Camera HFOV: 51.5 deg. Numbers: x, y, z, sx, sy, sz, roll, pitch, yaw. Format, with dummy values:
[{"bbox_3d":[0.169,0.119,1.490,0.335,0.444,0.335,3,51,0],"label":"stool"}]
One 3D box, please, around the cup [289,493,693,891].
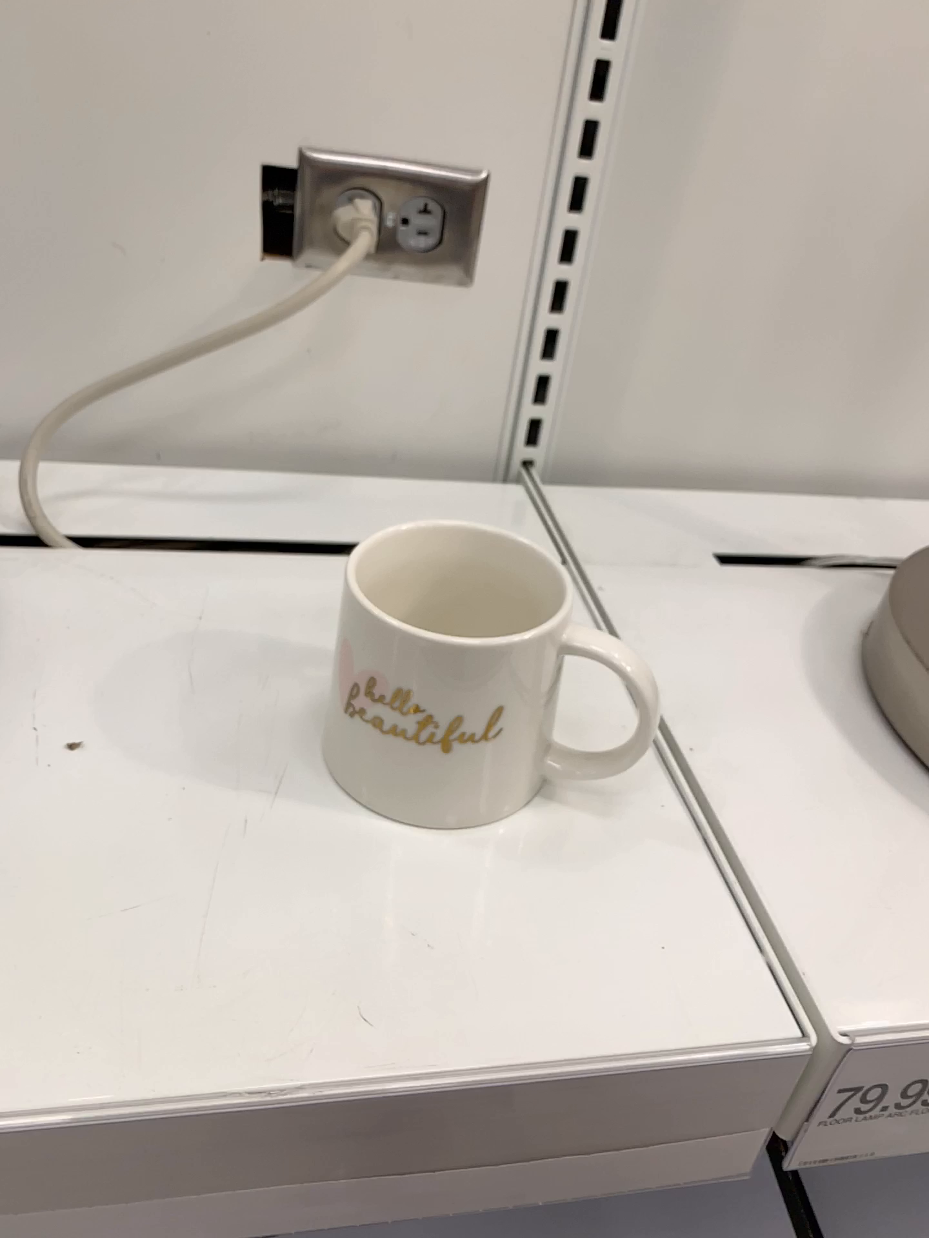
[{"bbox_3d":[0.012,0.025,0.425,0.140,0.097,0.105,17,35,16],"label":"cup"}]
